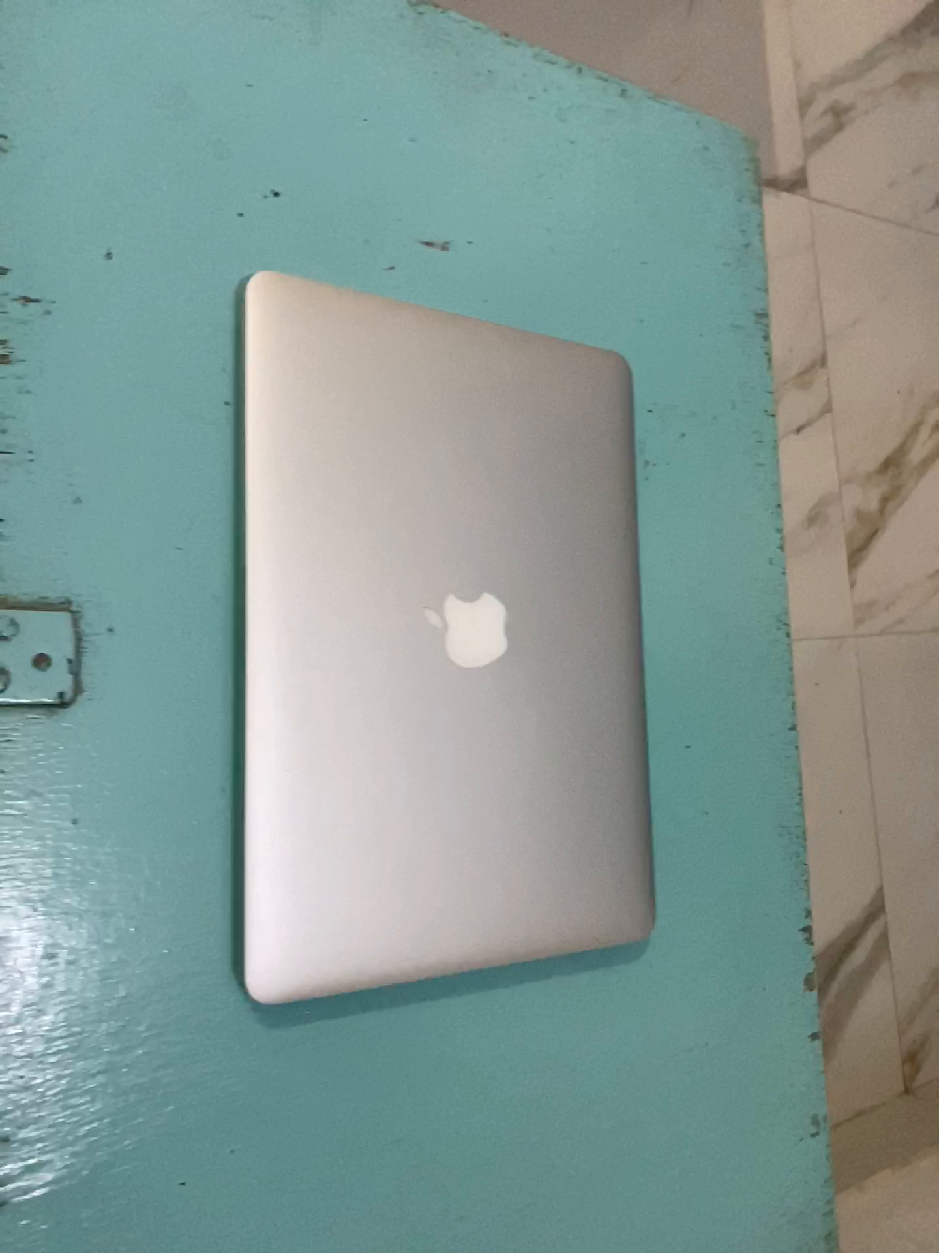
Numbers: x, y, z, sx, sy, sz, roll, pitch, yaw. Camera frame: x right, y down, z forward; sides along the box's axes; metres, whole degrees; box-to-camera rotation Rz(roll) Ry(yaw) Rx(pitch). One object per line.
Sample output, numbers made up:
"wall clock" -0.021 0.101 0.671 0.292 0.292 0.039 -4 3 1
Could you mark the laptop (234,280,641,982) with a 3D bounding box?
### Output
"laptop" -0.006 0.002 0.458 0.209 0.007 0.291 1 85 -33
